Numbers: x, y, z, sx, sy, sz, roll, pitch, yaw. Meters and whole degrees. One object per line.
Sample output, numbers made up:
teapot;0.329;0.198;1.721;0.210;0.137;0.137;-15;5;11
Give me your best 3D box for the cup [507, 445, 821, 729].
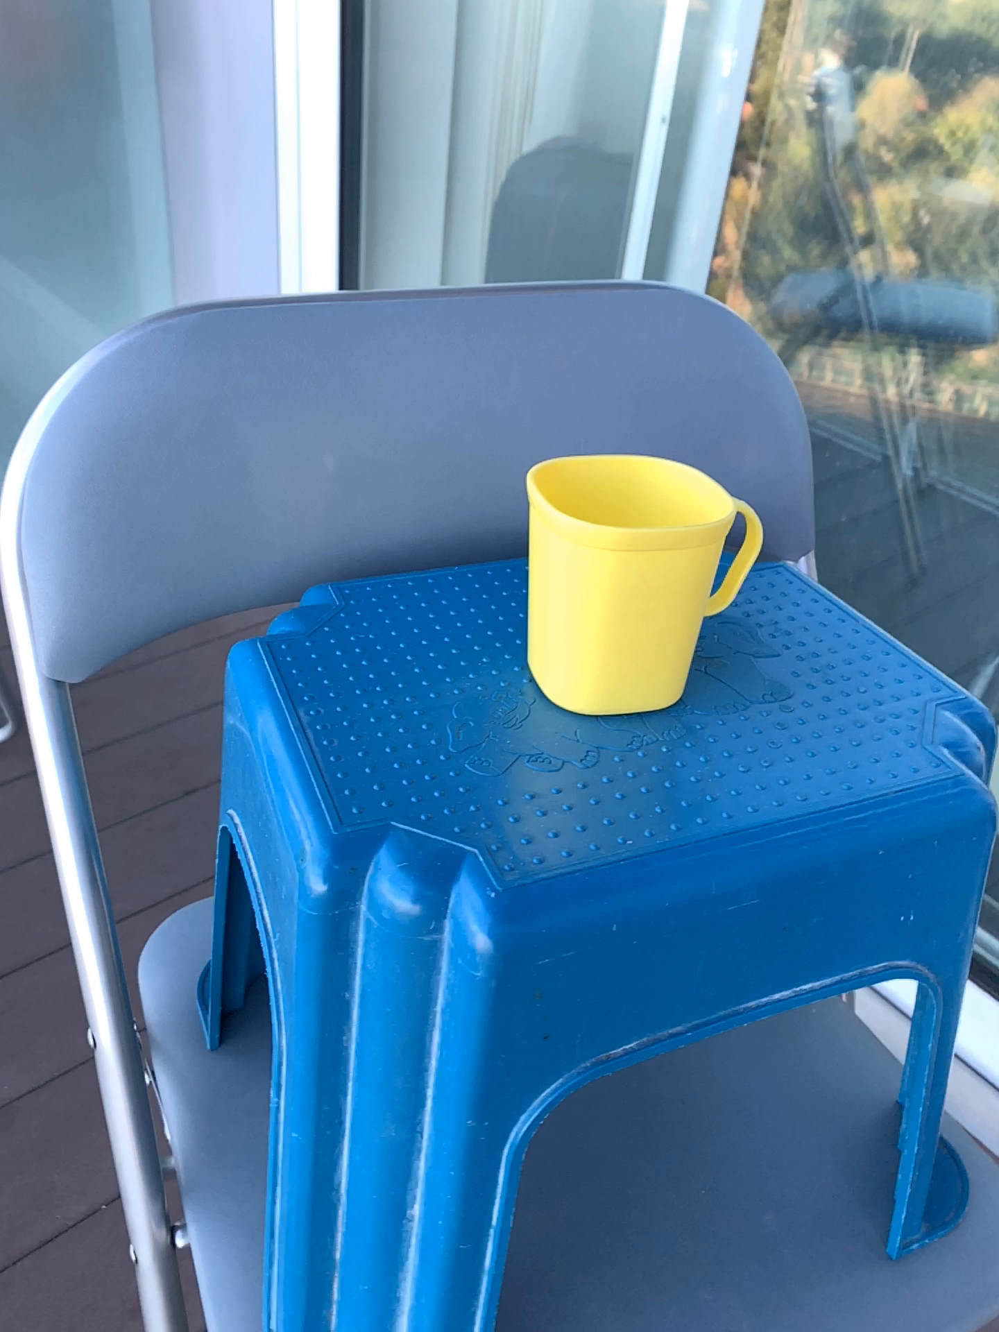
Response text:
cup;0.056;-0.032;0.388;0.089;0.077;0.068;-6;33;-14
